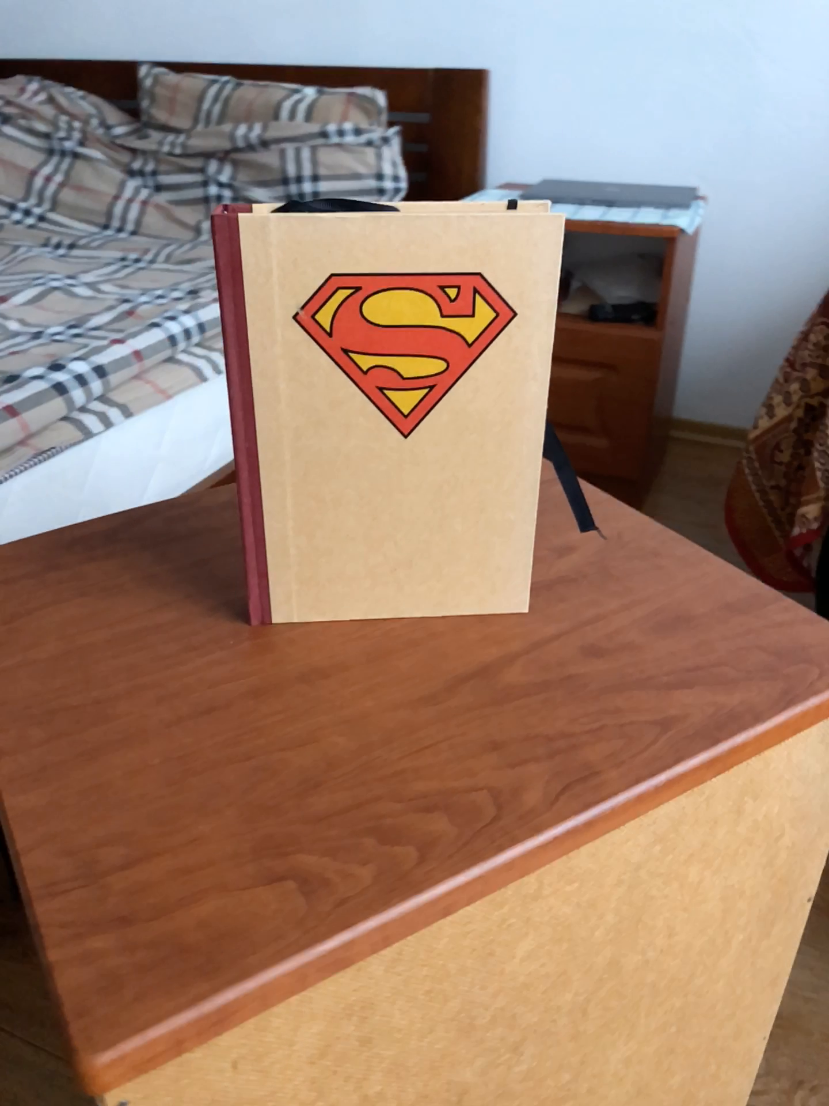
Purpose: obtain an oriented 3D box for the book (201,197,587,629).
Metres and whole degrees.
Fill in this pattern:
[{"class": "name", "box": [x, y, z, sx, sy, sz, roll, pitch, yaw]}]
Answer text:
[{"class": "book", "box": [-0.010, -0.063, 0.449, 0.162, 0.203, 0.041, -2, 29, -5]}]
